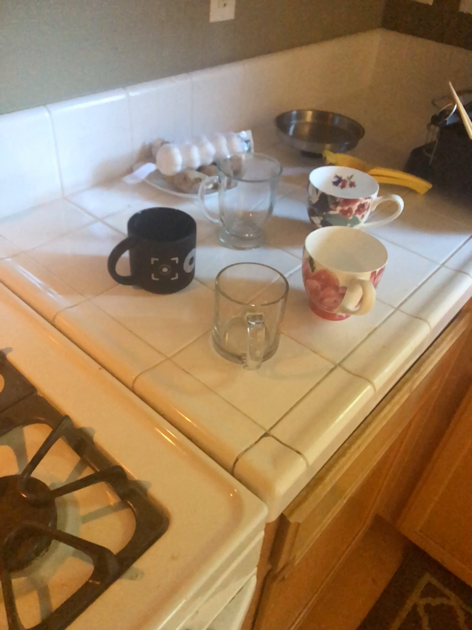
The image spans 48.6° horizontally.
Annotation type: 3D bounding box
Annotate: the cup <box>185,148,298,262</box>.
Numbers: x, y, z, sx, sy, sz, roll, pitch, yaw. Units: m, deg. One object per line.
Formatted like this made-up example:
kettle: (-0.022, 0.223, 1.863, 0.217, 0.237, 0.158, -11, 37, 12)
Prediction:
cup: (0.003, -0.160, 0.746, 0.120, 0.109, 0.101, -14, 44, -22)

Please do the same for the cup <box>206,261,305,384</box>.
cup: (0.016, 0.006, 0.599, 0.090, 0.079, 0.121, -1, 41, -8)

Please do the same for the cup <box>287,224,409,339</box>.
cup: (0.125, -0.042, 0.620, 0.100, 0.069, 0.131, 0, 41, -7)

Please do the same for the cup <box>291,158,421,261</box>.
cup: (0.184, -0.167, 0.809, 0.160, 0.079, 0.101, 22, 43, 18)

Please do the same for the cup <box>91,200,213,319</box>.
cup: (-0.097, -0.068, 0.616, 0.111, 0.079, 0.080, -29, 52, -34)
